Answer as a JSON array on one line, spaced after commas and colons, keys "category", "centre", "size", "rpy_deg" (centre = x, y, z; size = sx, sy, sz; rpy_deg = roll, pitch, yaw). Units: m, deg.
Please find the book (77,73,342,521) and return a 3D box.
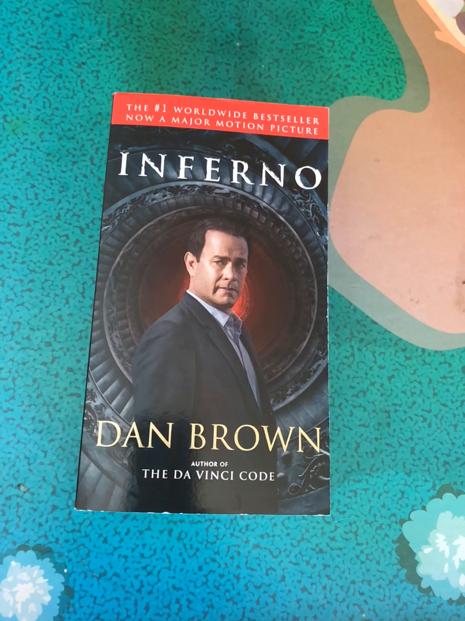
[{"category": "book", "centre": [-0.008, -0.006, 0.263], "size": [0.110, 0.060, 0.200], "rpy_deg": [3, 79, -6]}]
